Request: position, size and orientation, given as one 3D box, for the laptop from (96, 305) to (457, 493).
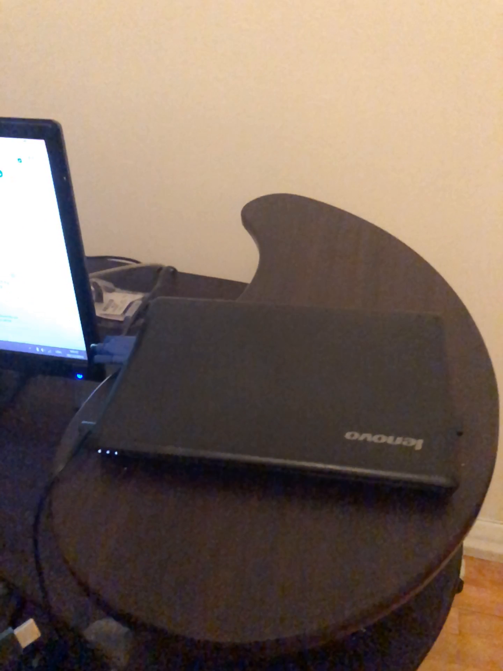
[{"bbox_3d":[0.024,0.038,0.457,0.259,0.008,0.173,3,42,12],"label":"laptop"}]
